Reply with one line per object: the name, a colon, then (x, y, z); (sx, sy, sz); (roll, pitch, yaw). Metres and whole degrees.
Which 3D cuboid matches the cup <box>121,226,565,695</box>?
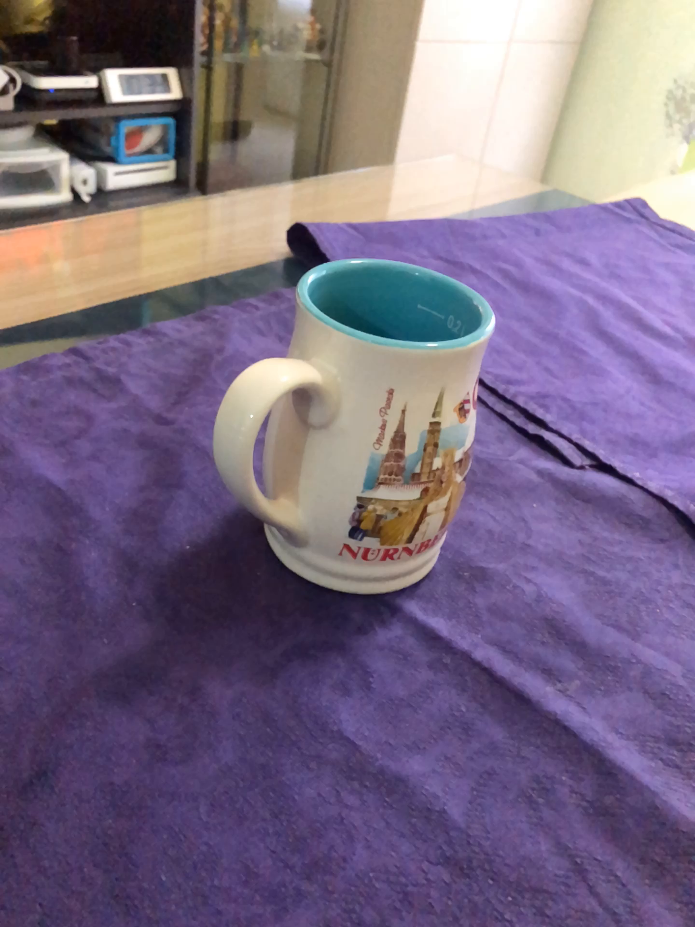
cup: (-0.005, -0.010, 0.277); (0.120, 0.109, 0.080); (-24, 48, -39)
